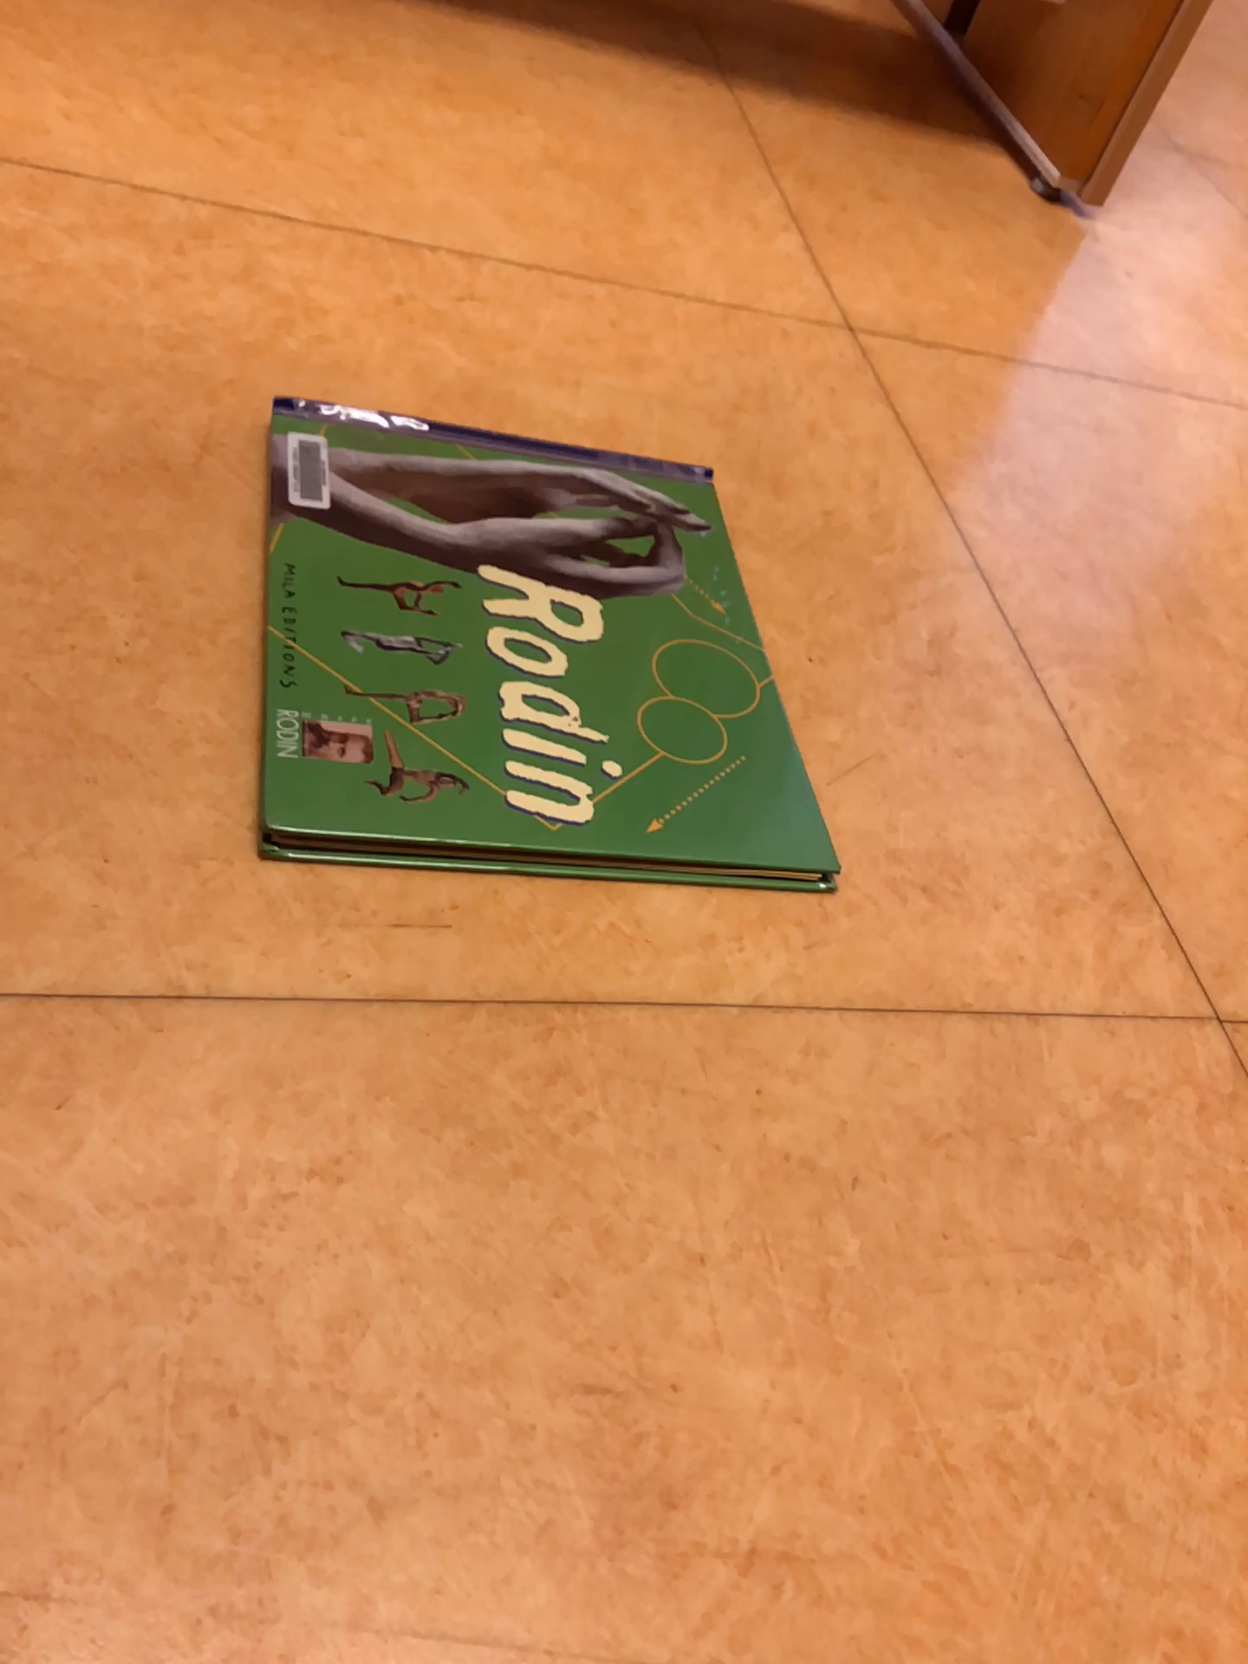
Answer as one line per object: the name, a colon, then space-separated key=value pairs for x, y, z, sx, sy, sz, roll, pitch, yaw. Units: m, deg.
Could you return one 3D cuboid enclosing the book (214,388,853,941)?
book: x=-0.043 y=-0.070 z=0.511 sx=0.200 sy=0.030 sz=0.244 roll=4 pitch=47 yaw=-19
